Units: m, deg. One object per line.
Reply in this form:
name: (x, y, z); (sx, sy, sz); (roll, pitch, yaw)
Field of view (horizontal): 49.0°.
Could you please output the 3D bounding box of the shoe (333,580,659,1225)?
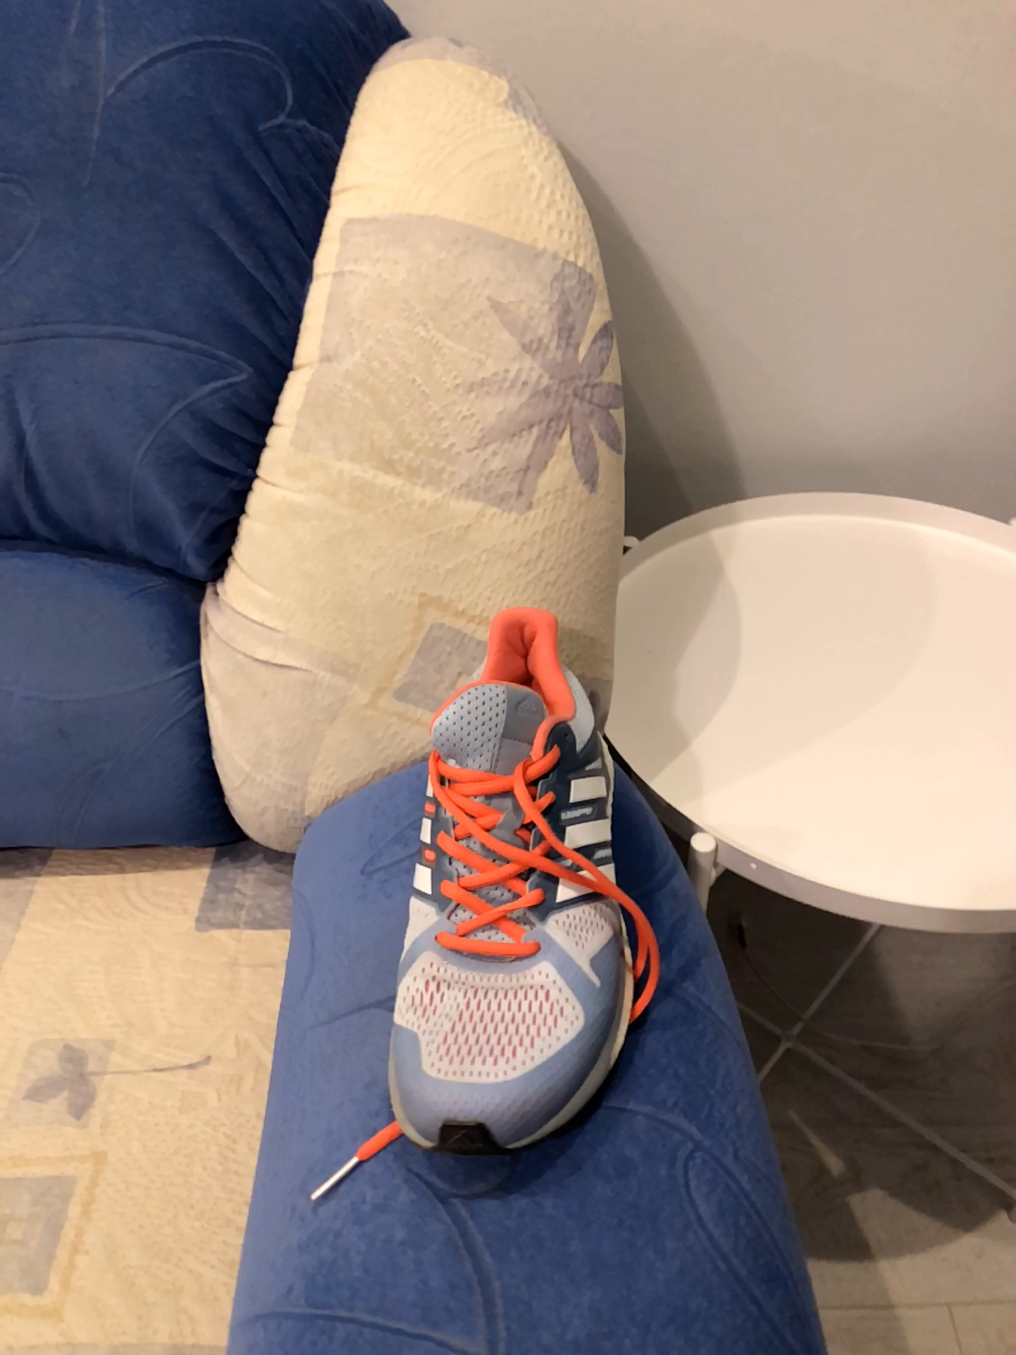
shoe: (0.006, 0.081, 0.504); (0.107, 0.109, 0.272); (2, 40, 3)
